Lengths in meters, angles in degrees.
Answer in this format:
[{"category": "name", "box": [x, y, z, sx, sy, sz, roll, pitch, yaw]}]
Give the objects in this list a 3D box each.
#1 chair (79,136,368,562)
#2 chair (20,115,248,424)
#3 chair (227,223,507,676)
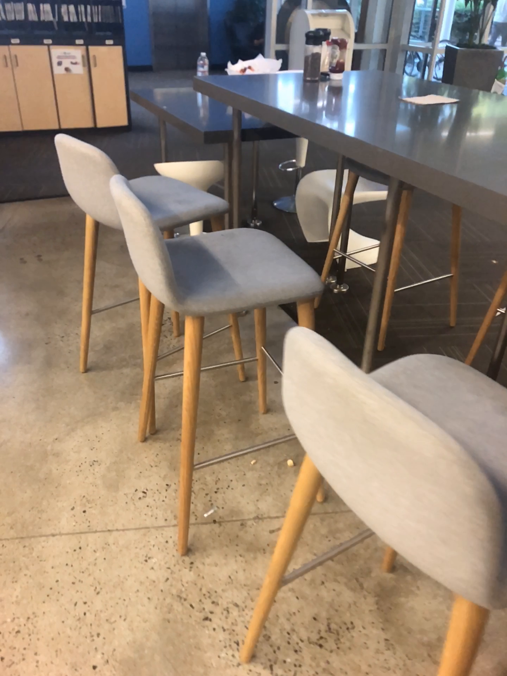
[{"category": "chair", "box": [-0.093, -0.003, 1.569, 0.542, 0.982, 0.502, -13, 30, -24]}, {"category": "chair", "box": [-0.385, -0.274, 1.987, 0.513, 0.893, 0.491, -25, 36, -37]}, {"category": "chair", "box": [0.321, 0.393, 0.996, 0.543, 0.981, 0.502, -21, 38, -33]}]
